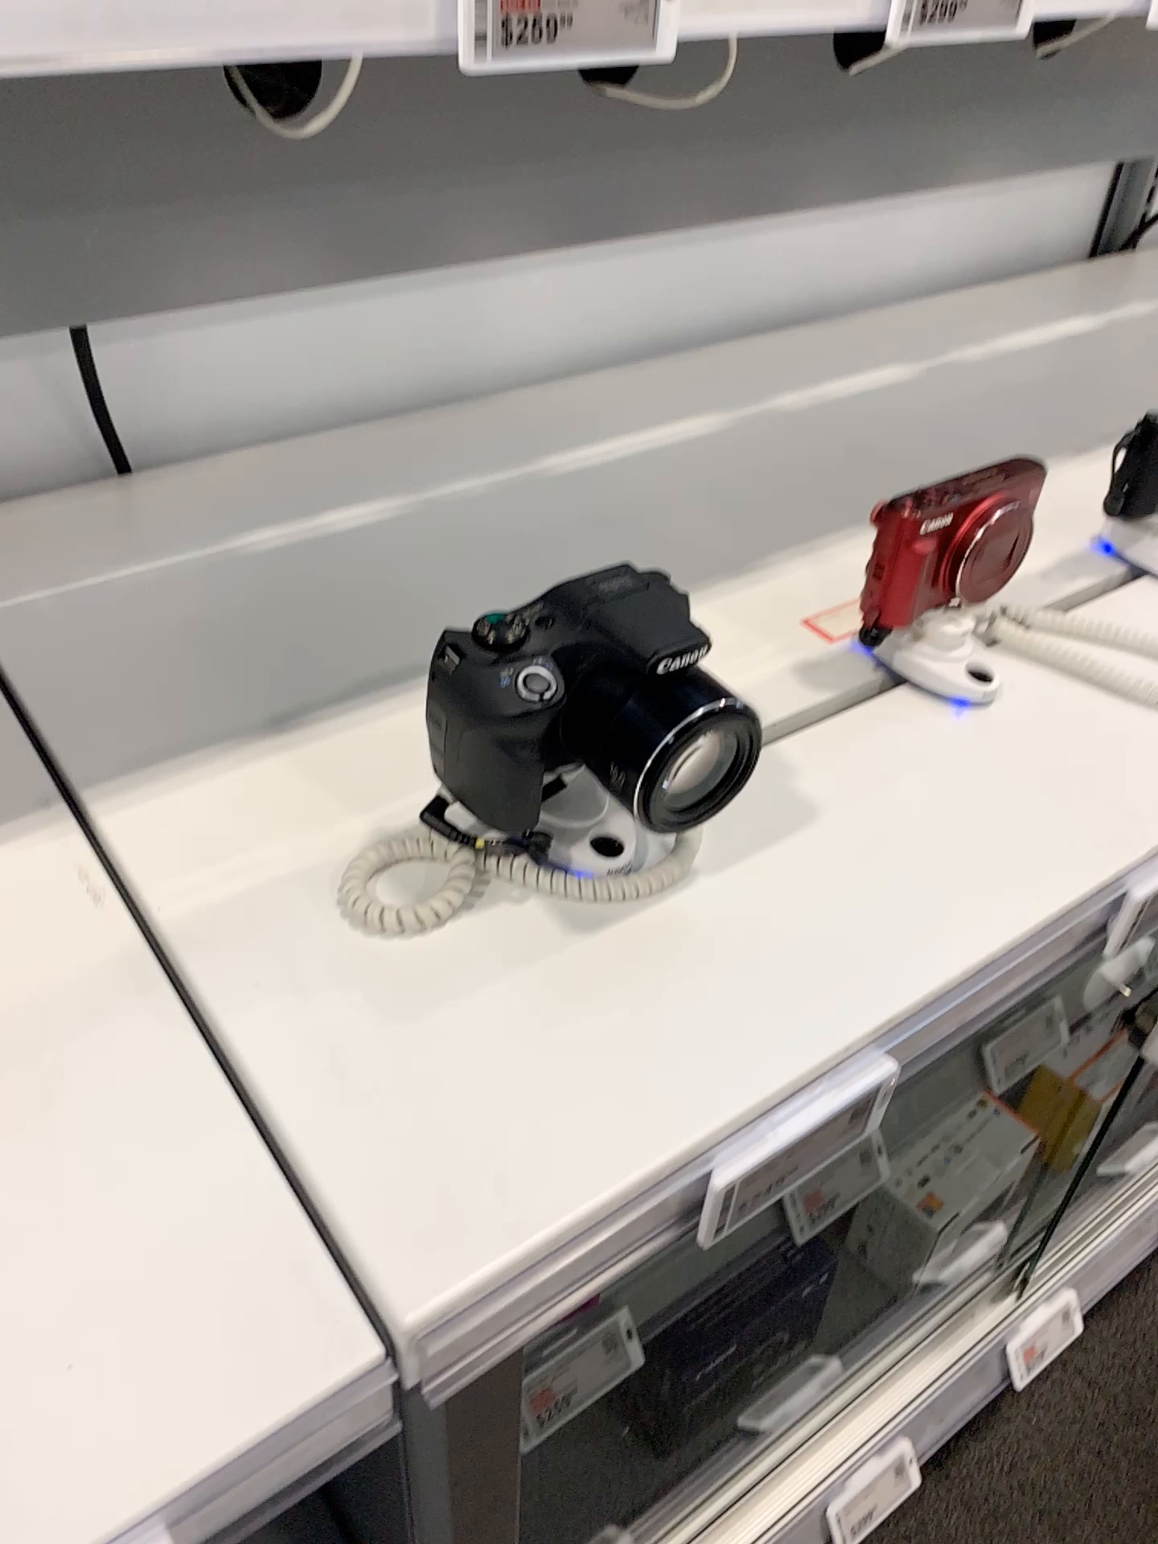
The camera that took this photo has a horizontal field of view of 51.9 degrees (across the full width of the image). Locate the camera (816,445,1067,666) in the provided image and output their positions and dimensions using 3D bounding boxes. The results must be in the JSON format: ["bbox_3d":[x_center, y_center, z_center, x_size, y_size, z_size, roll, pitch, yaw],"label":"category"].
[{"bbox_3d":[0.181,-0.110,0.596,0.120,0.070,0.040,-24,47,-29],"label":"camera"}]

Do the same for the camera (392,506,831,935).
[{"bbox_3d":[0.009,-0.025,0.451,0.120,0.089,0.100,-24,47,-29],"label":"camera"}]
